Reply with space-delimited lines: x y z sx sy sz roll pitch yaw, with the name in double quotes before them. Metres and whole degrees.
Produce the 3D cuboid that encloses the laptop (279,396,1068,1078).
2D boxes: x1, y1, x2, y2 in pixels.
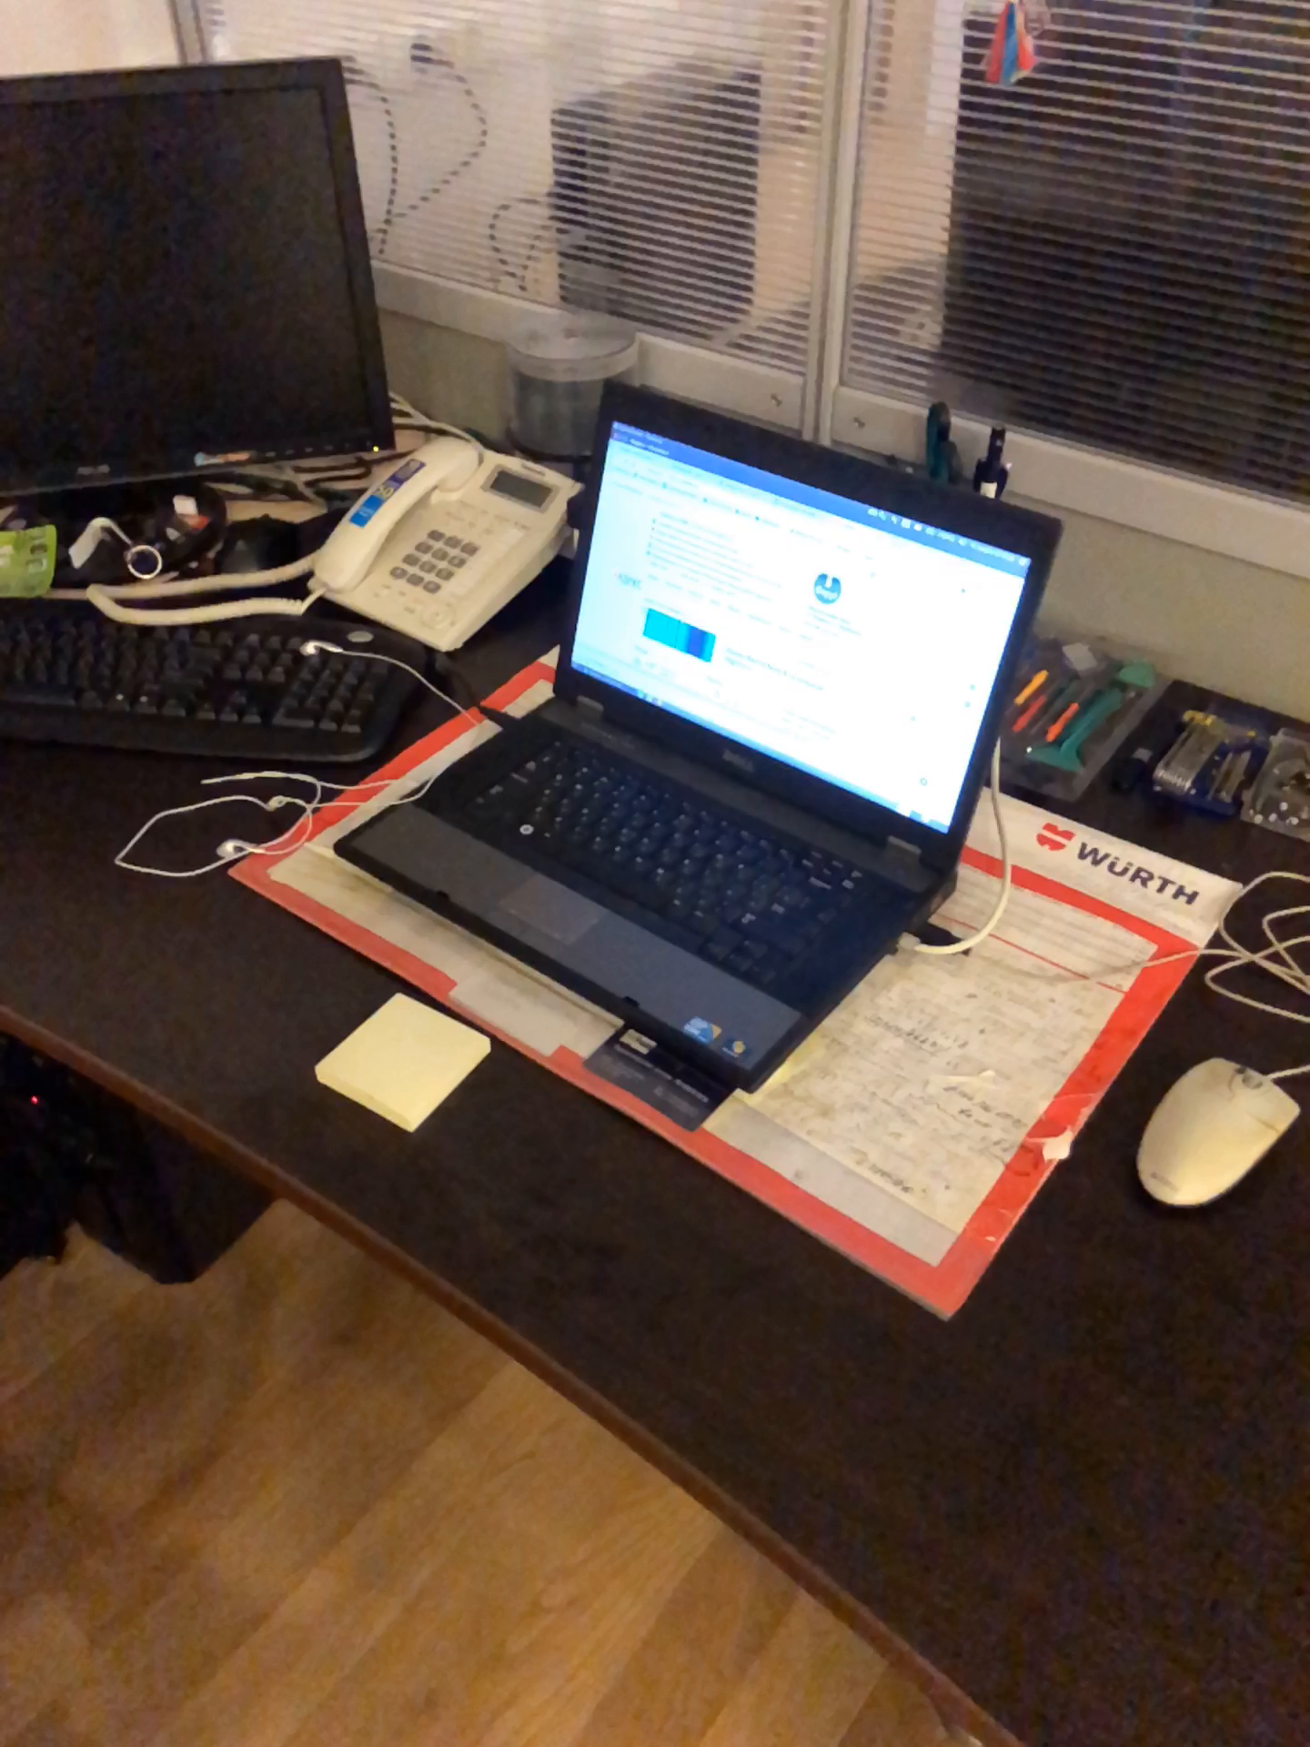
"laptop" 0.011 -0.098 0.825 0.317 0.209 0.257 26 47 28
